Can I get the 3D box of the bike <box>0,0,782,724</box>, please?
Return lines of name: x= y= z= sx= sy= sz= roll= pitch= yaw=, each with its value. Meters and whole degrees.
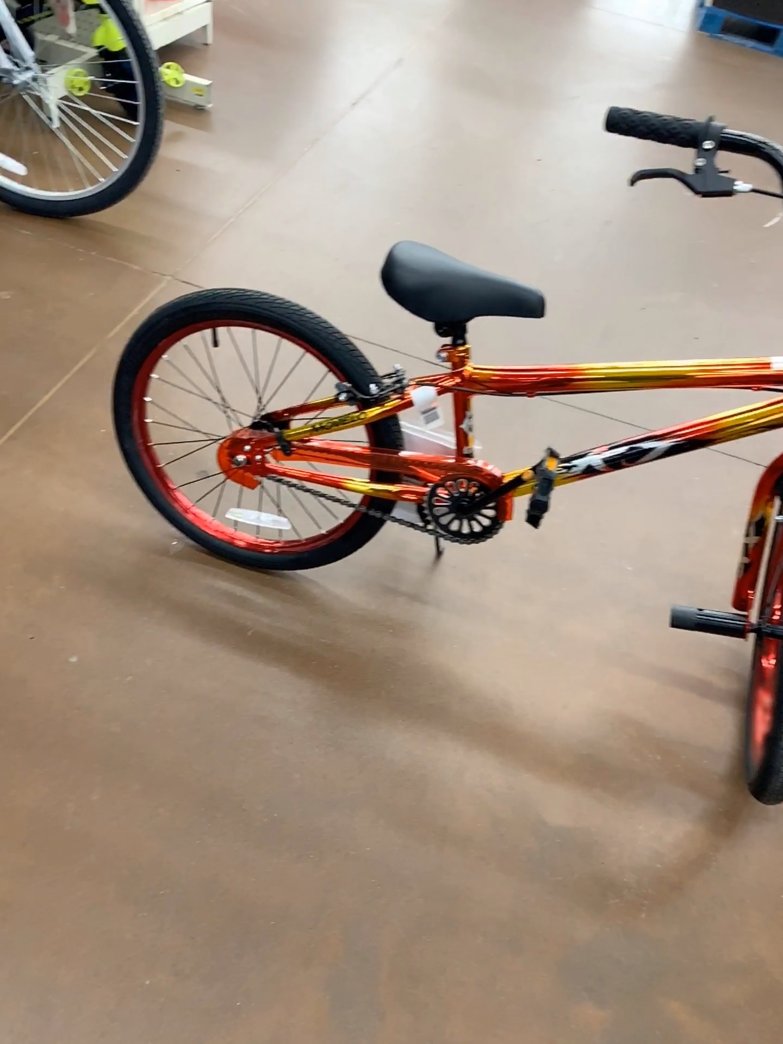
bike: x=0.177 y=-0.312 z=1.150 sx=1.122 sy=0.925 sz=0.707 roll=10 pitch=46 yaw=-1
